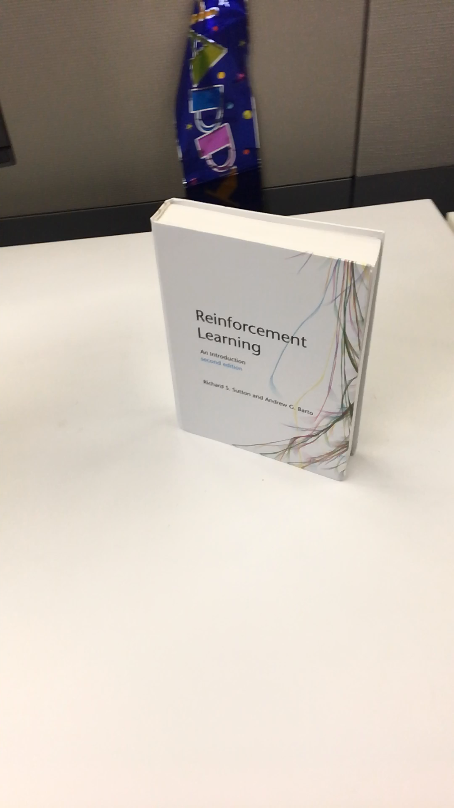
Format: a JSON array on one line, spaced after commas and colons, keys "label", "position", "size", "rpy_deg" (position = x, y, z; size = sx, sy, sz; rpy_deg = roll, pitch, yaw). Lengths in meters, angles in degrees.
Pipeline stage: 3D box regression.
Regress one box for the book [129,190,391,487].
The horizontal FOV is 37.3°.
[{"label": "book", "position": [0.027, -0.046, 0.560], "size": [0.180, 0.230, 0.050], "rpy_deg": [15, 49, 18]}]
